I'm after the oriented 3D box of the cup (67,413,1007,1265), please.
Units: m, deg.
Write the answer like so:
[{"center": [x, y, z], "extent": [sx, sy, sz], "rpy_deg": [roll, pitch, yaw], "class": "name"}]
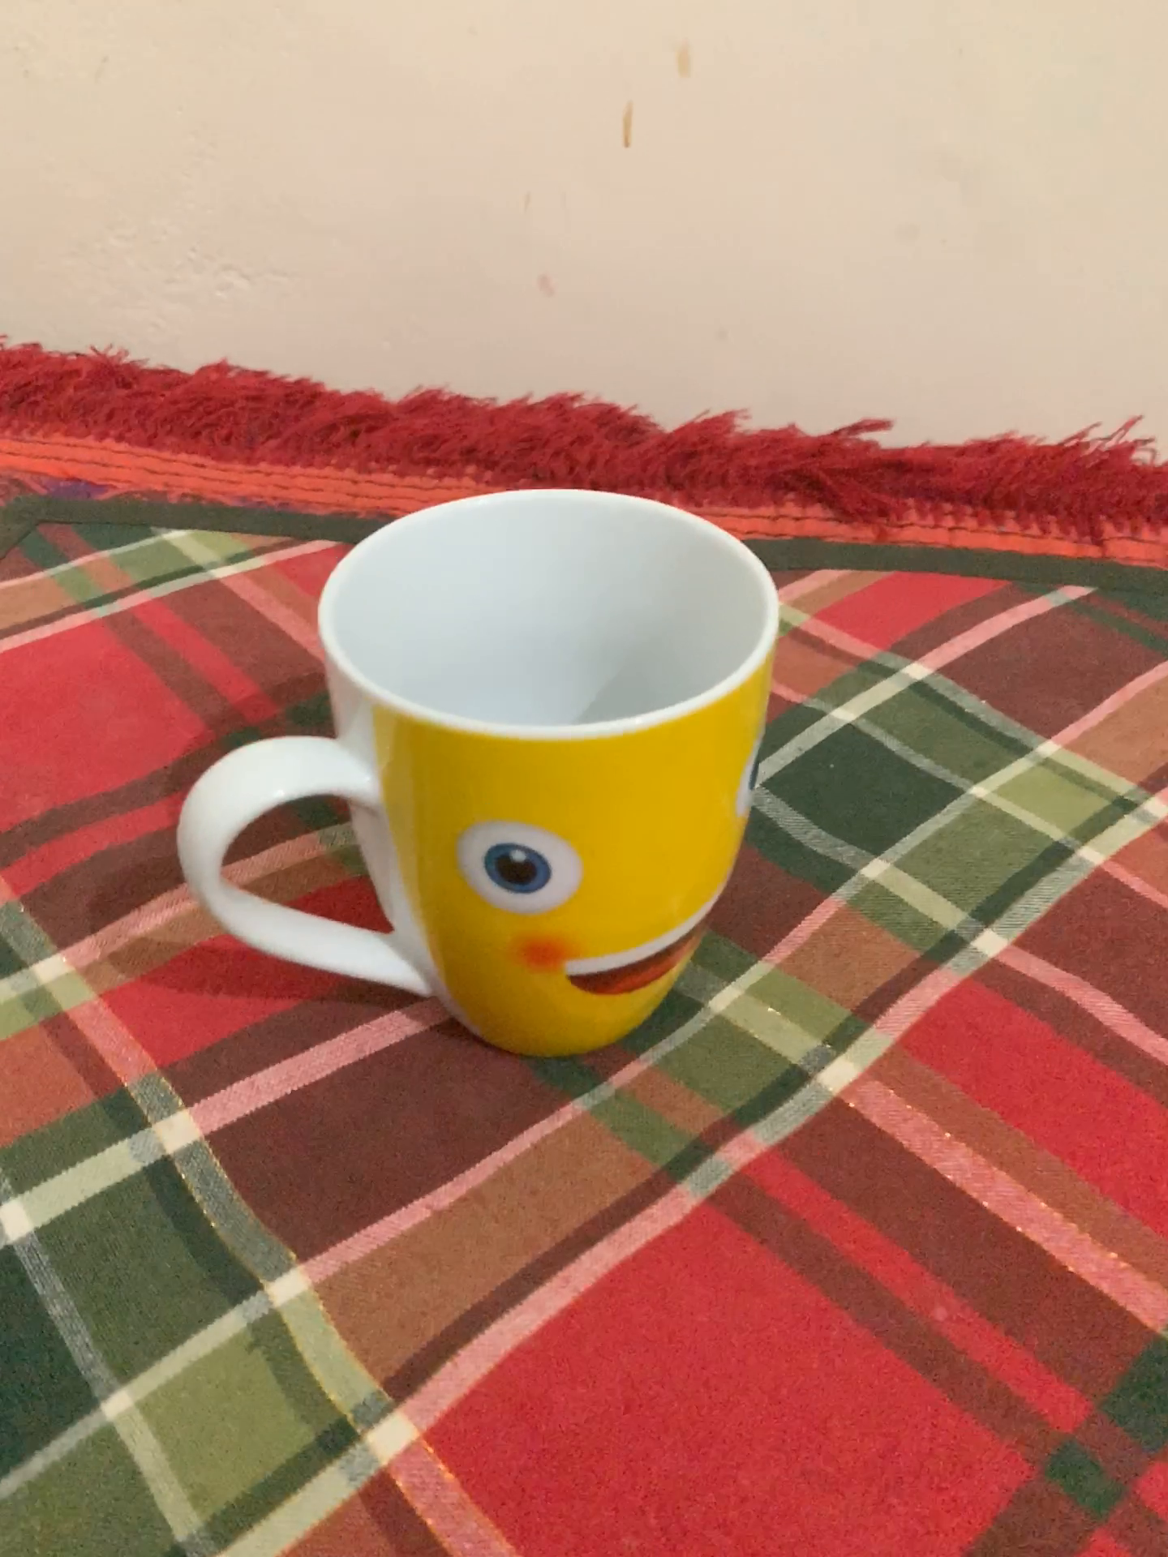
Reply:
[{"center": [-0.008, 0.002, 0.212], "extent": [0.120, 0.080, 0.080], "rpy_deg": [-23, 47, -25], "class": "cup"}]
